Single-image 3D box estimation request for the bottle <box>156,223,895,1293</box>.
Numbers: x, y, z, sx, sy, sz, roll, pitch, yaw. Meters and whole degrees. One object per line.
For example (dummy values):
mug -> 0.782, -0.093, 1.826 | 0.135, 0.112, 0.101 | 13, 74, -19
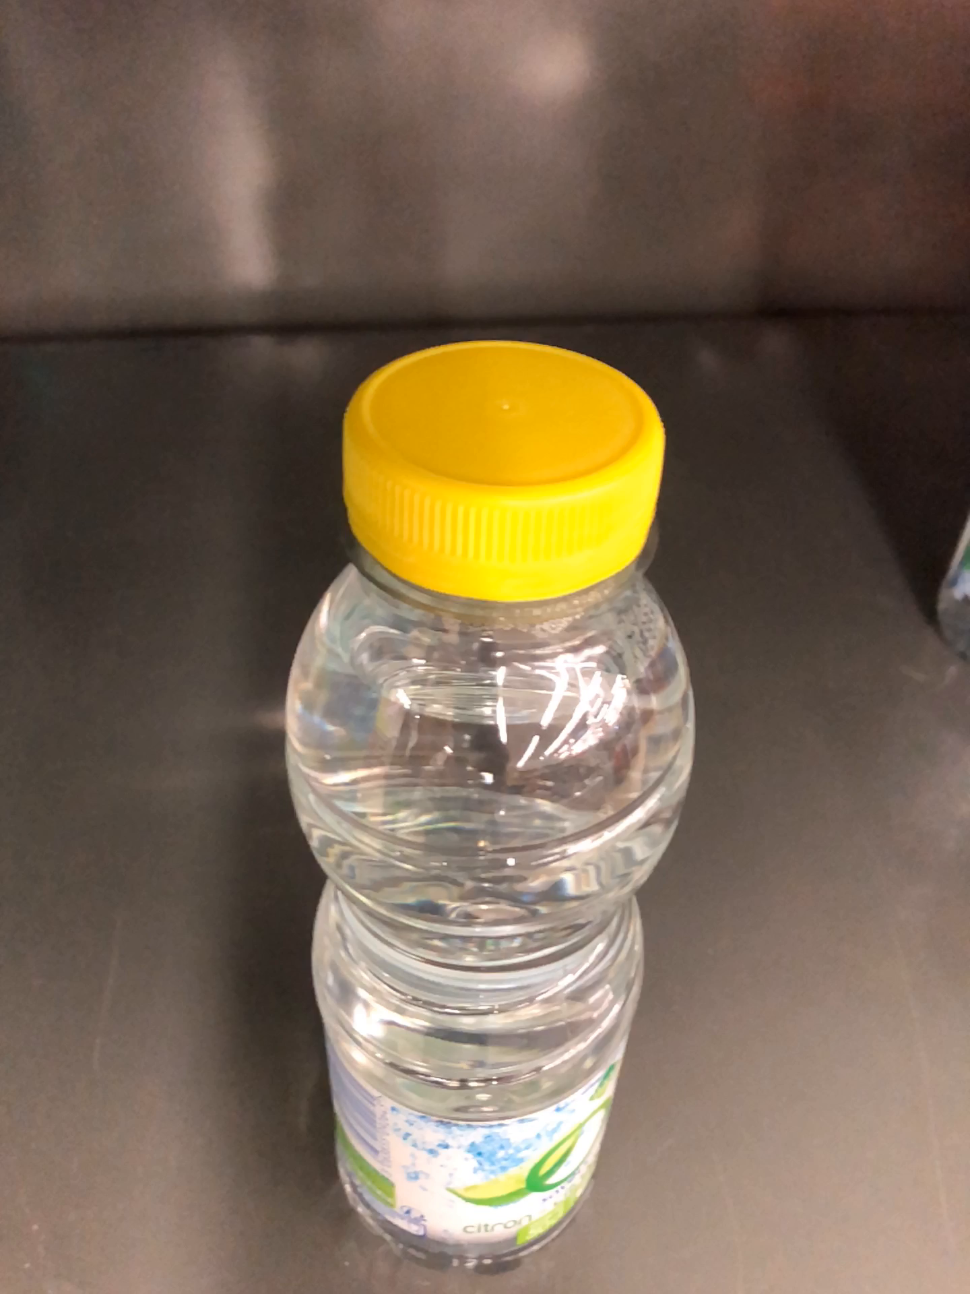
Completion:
bottle -> 0.003, 0.043, 0.203 | 0.070, 0.209, 0.060 | -29, 49, -31
